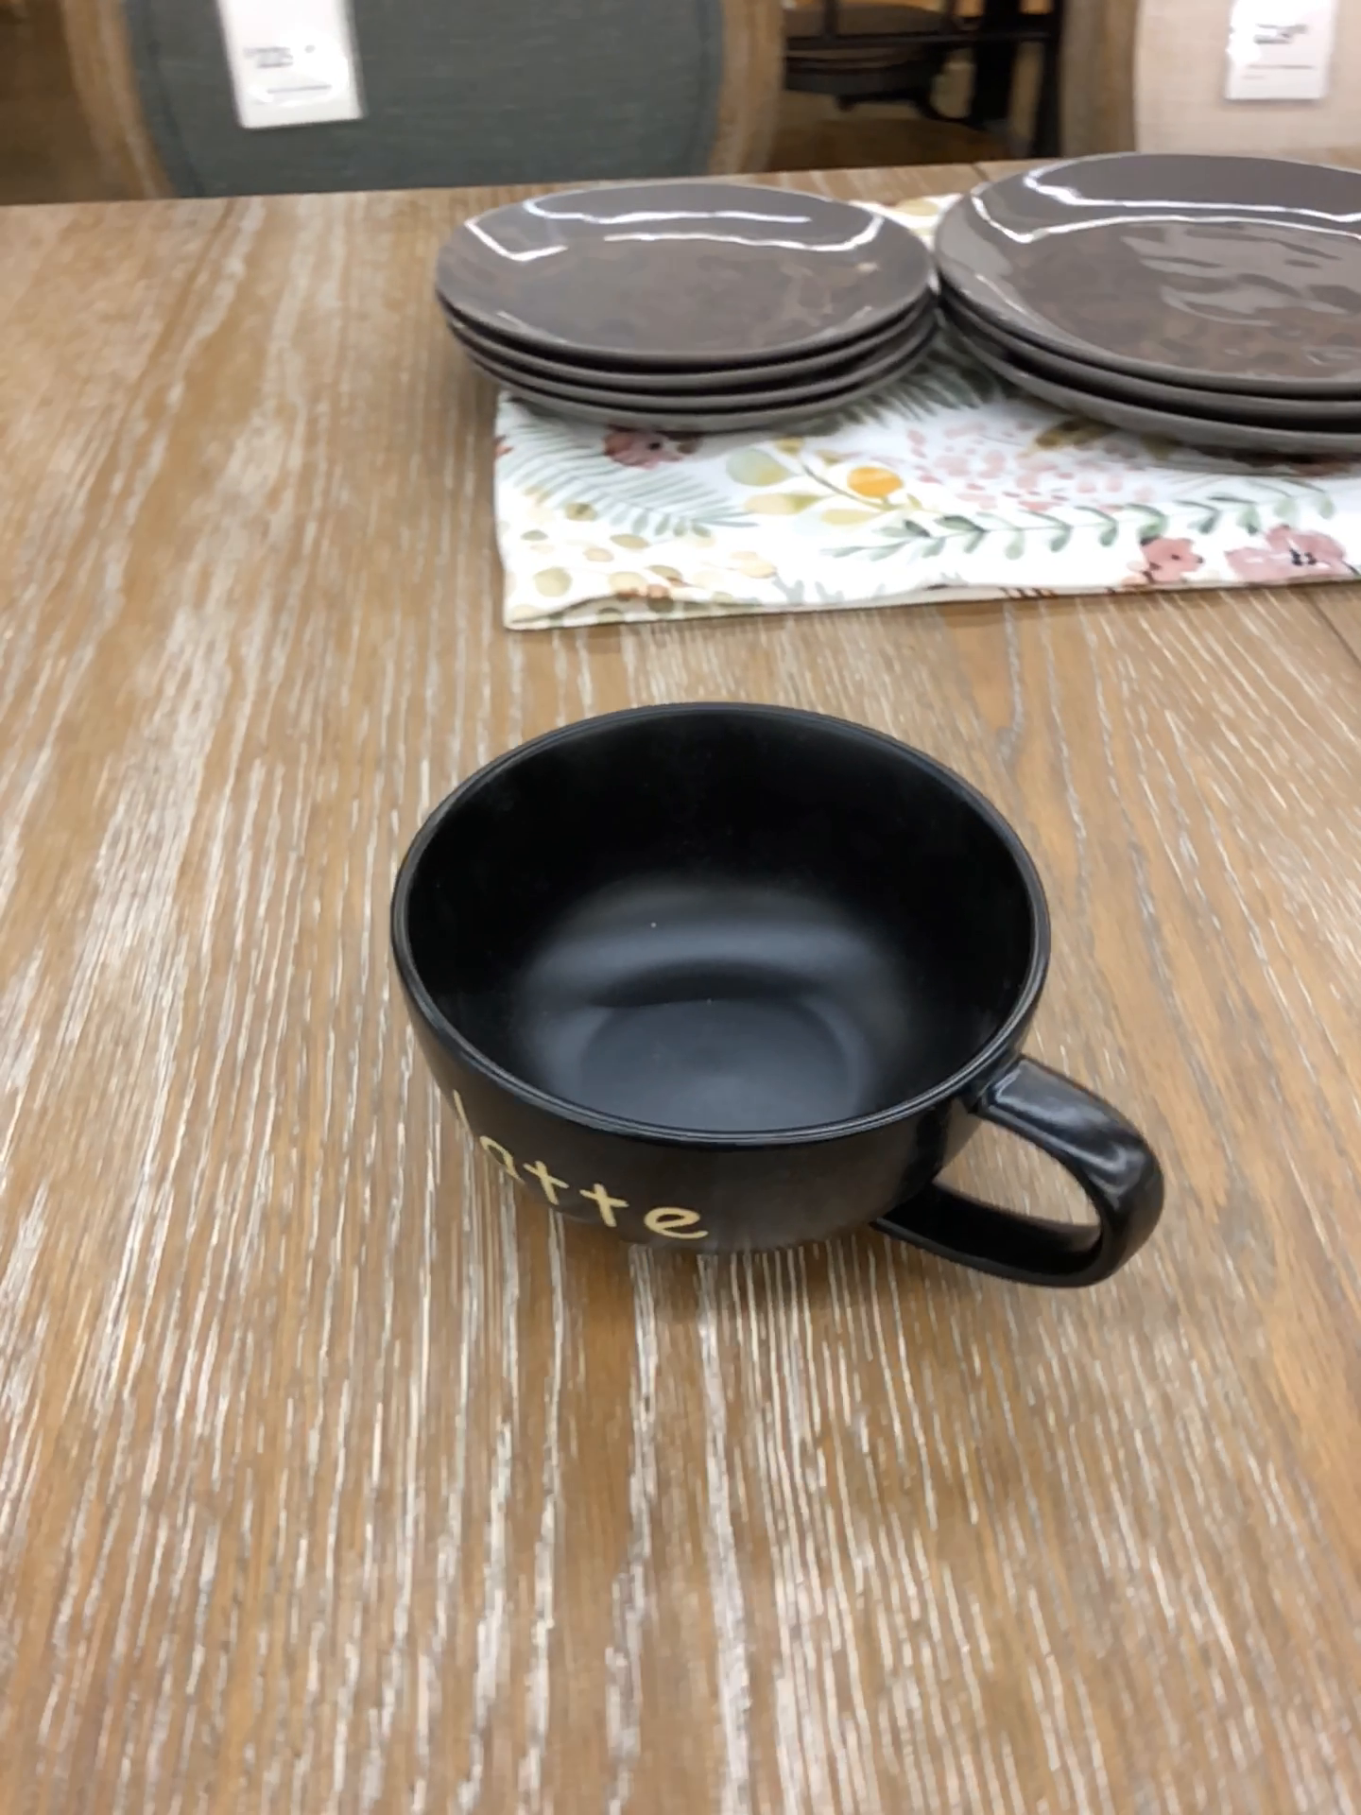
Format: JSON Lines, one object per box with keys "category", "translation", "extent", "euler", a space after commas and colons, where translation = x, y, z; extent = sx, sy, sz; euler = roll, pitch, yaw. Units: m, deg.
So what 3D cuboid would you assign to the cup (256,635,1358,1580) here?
{"category": "cup", "translation": [0.024, 0.023, 0.323], "extent": [0.175, 0.054, 0.137], "euler": [30, 50, 30]}
